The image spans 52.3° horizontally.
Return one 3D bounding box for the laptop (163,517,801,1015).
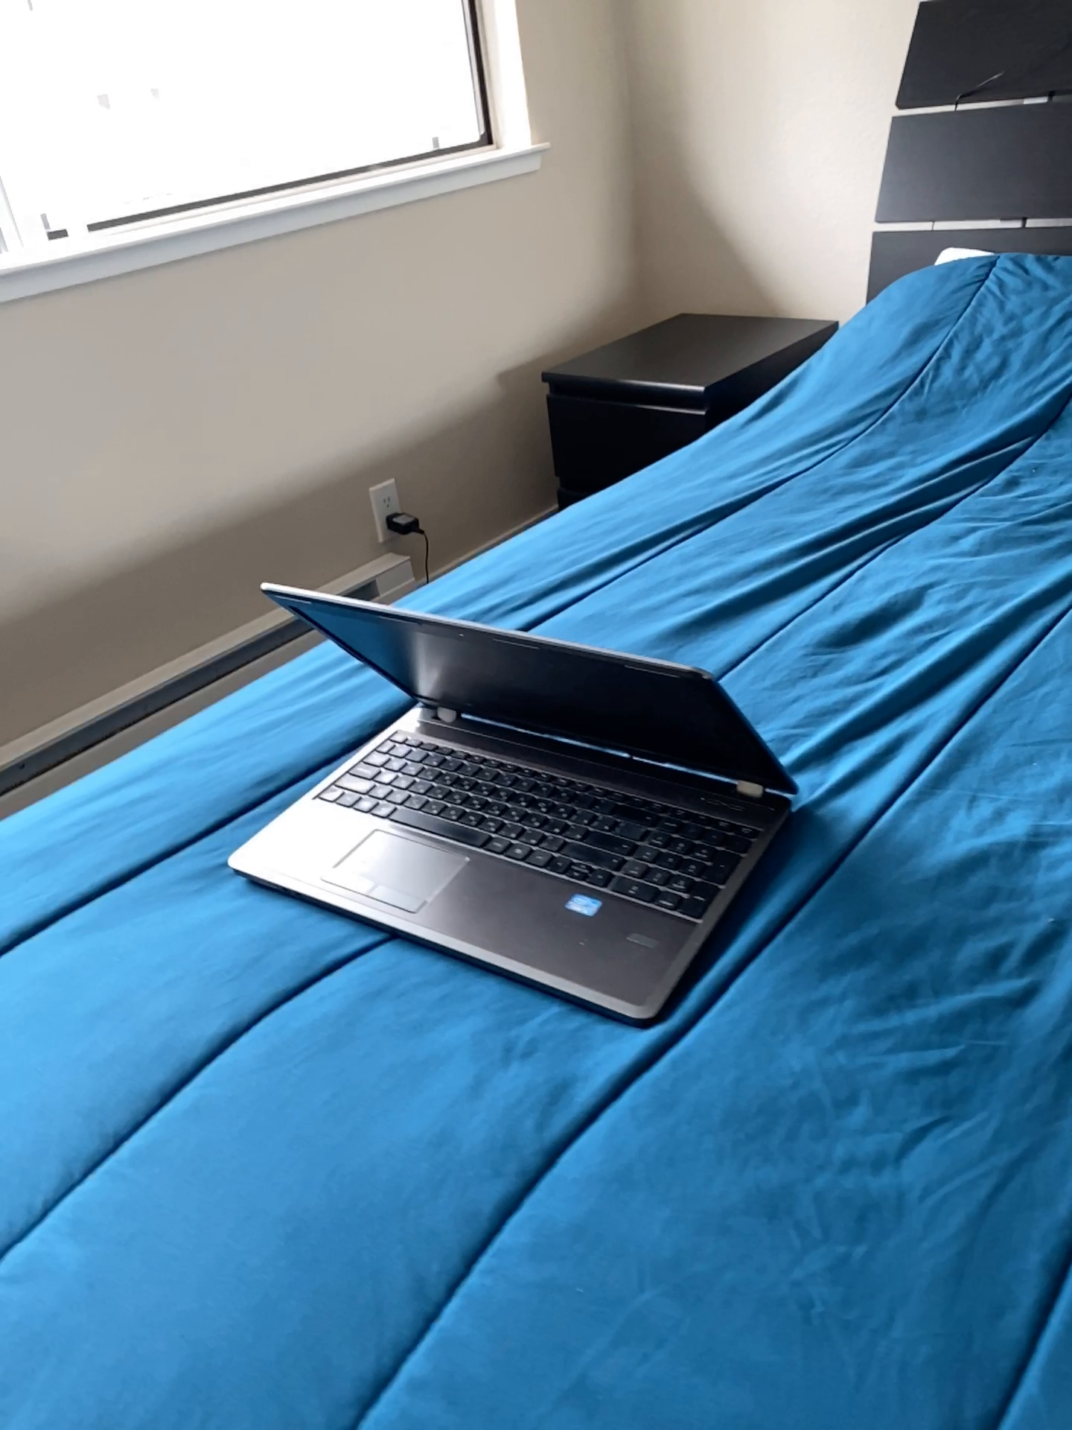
[{"bbox_3d":[-0.027,0.006,0.806,0.370,0.192,0.256,13,35,31],"label":"laptop"}]
